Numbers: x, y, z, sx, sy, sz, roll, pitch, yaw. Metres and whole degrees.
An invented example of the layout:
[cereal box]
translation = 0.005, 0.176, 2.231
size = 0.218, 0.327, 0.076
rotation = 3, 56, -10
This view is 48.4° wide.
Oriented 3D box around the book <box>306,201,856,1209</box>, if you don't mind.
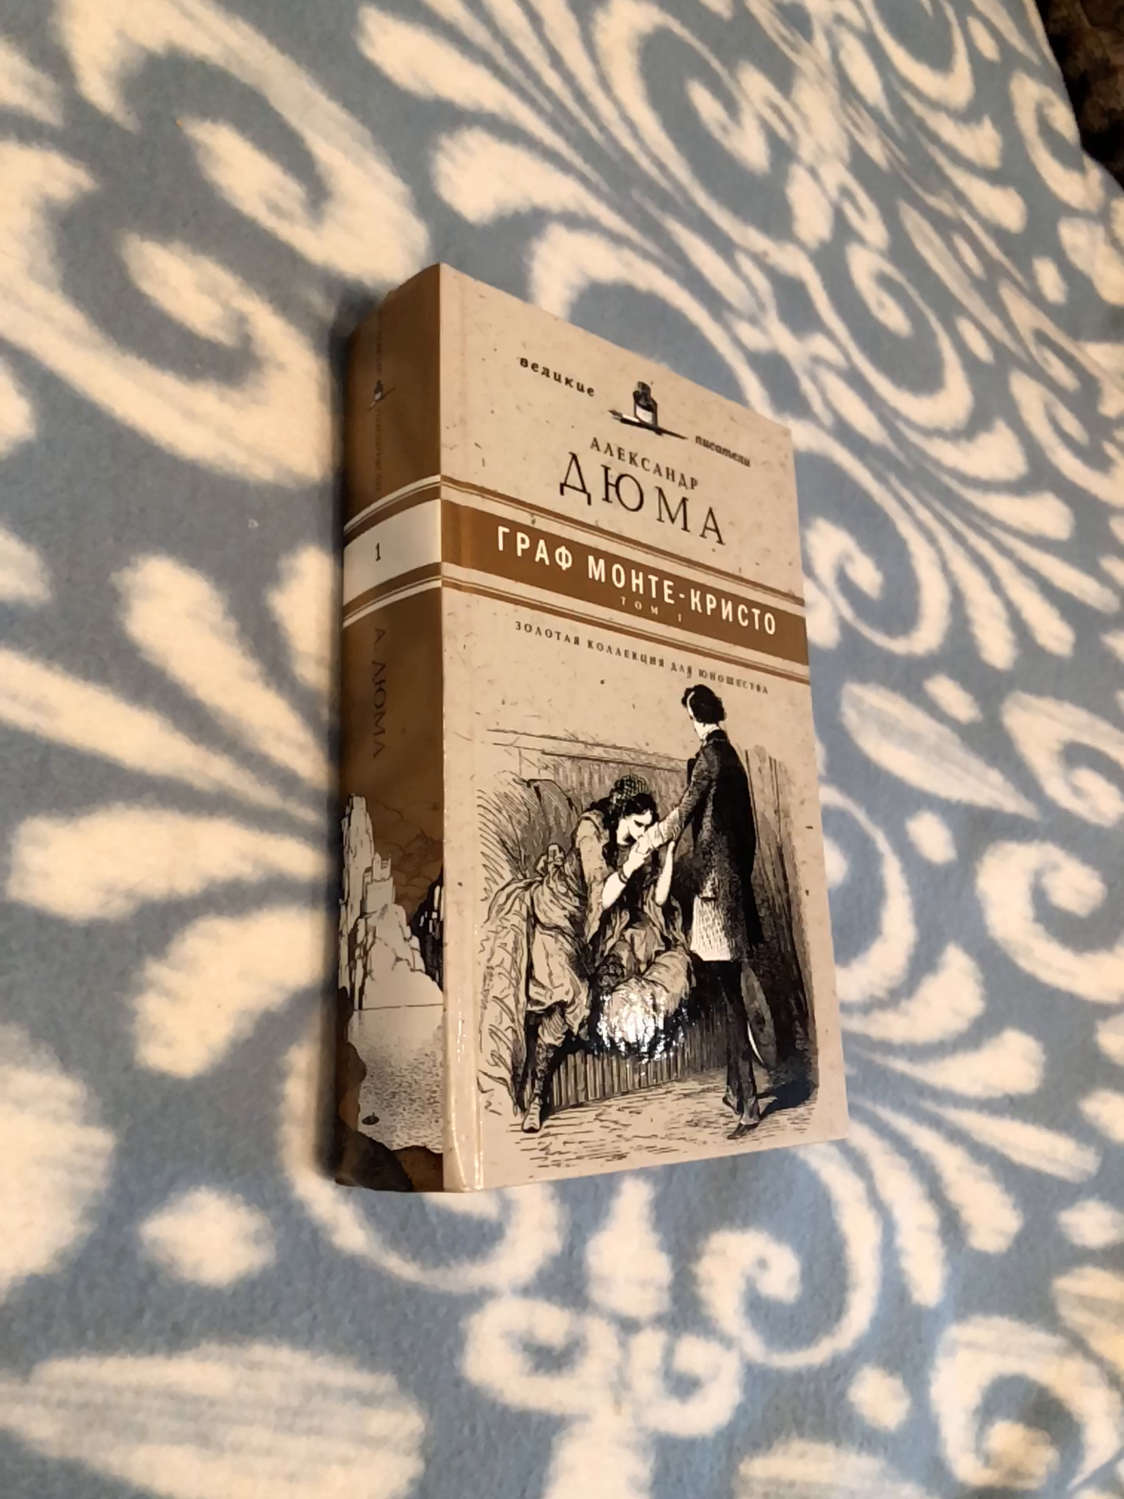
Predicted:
[book]
translation = 0.007, -0.007, 0.313
size = 0.139, 0.040, 0.212
rotation = 10, 72, -42
